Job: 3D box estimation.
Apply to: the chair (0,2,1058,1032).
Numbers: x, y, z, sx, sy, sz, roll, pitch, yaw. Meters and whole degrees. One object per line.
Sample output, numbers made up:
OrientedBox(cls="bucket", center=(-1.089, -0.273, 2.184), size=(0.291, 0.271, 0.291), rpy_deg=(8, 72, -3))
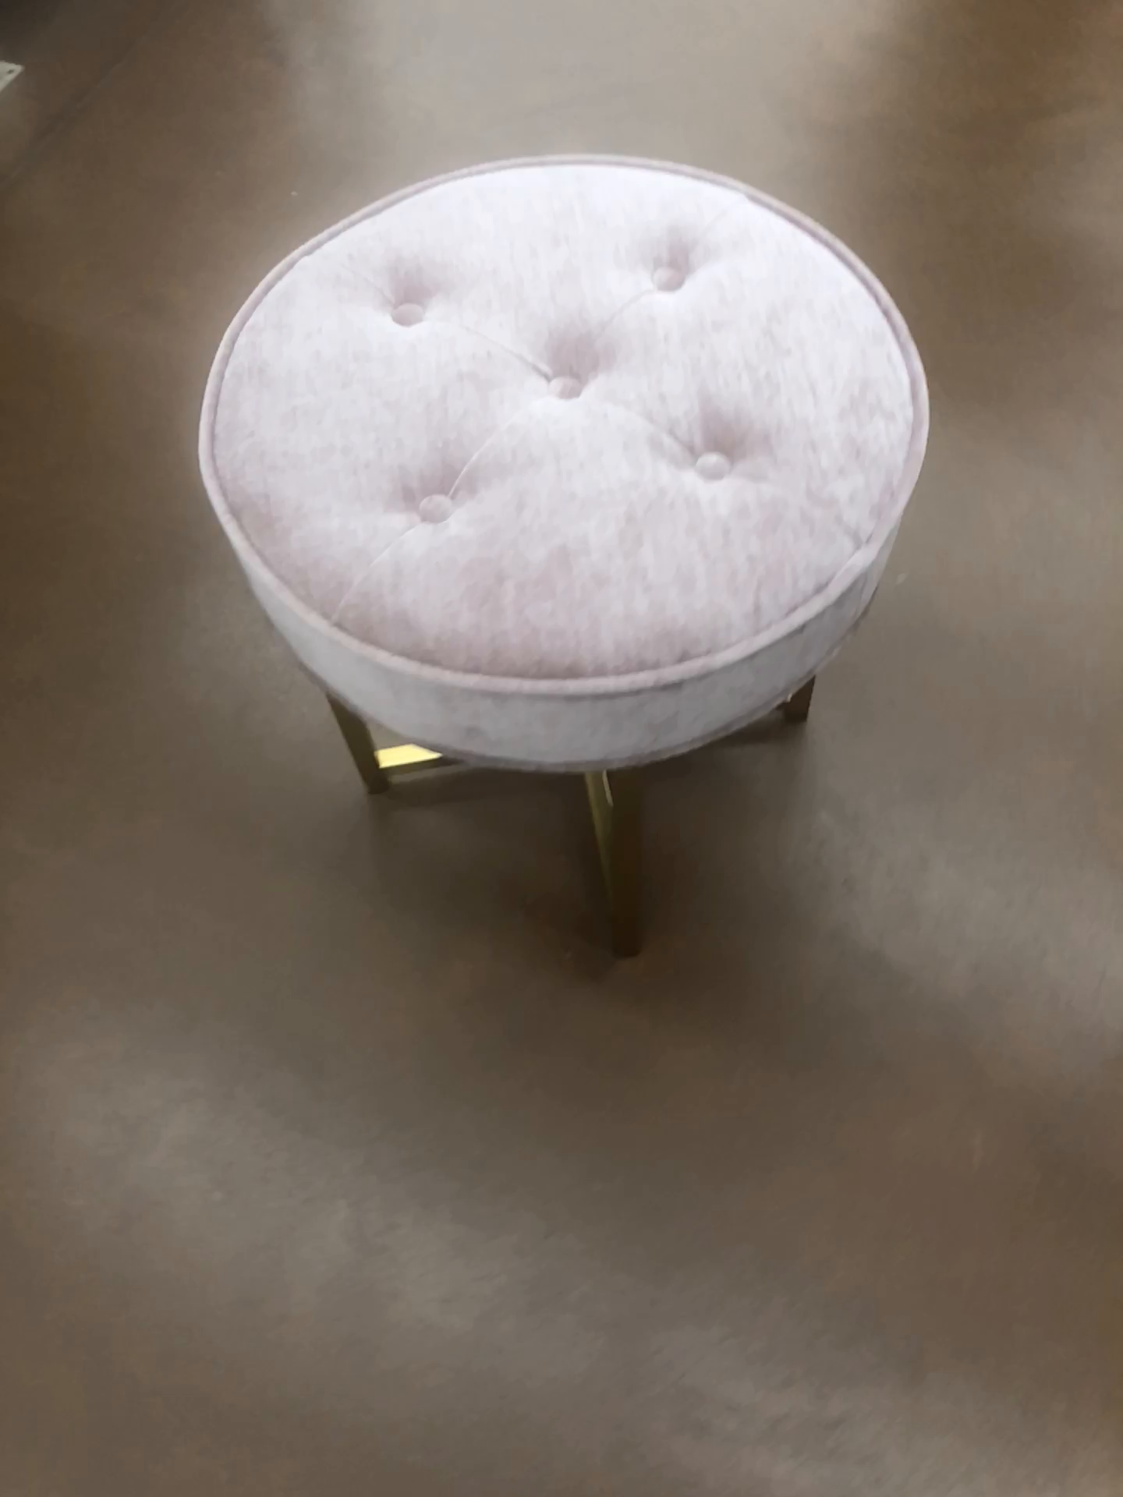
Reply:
OrientedBox(cls="chair", center=(-0.012, -0.162, 0.894), size=(0.470, 0.389, 0.450), rpy_deg=(28, 66, 18))
